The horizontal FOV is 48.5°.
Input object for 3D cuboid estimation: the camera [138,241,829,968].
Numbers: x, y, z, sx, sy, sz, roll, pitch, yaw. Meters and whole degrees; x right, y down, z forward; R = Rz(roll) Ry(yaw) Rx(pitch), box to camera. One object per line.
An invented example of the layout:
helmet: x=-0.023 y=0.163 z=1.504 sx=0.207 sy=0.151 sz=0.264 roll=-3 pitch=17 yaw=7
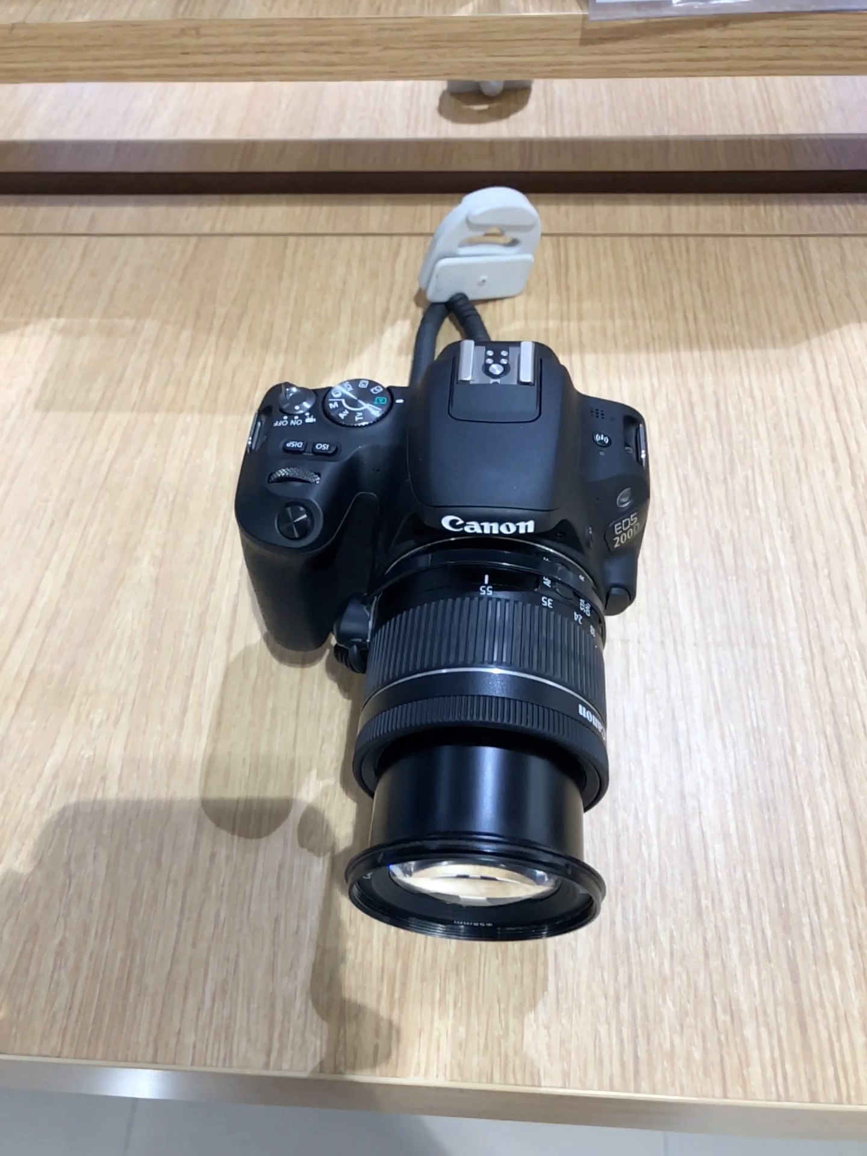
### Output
camera: x=0.014 y=0.003 z=0.255 sx=0.120 sy=0.099 sz=0.161 roll=2 pitch=53 yaw=4
